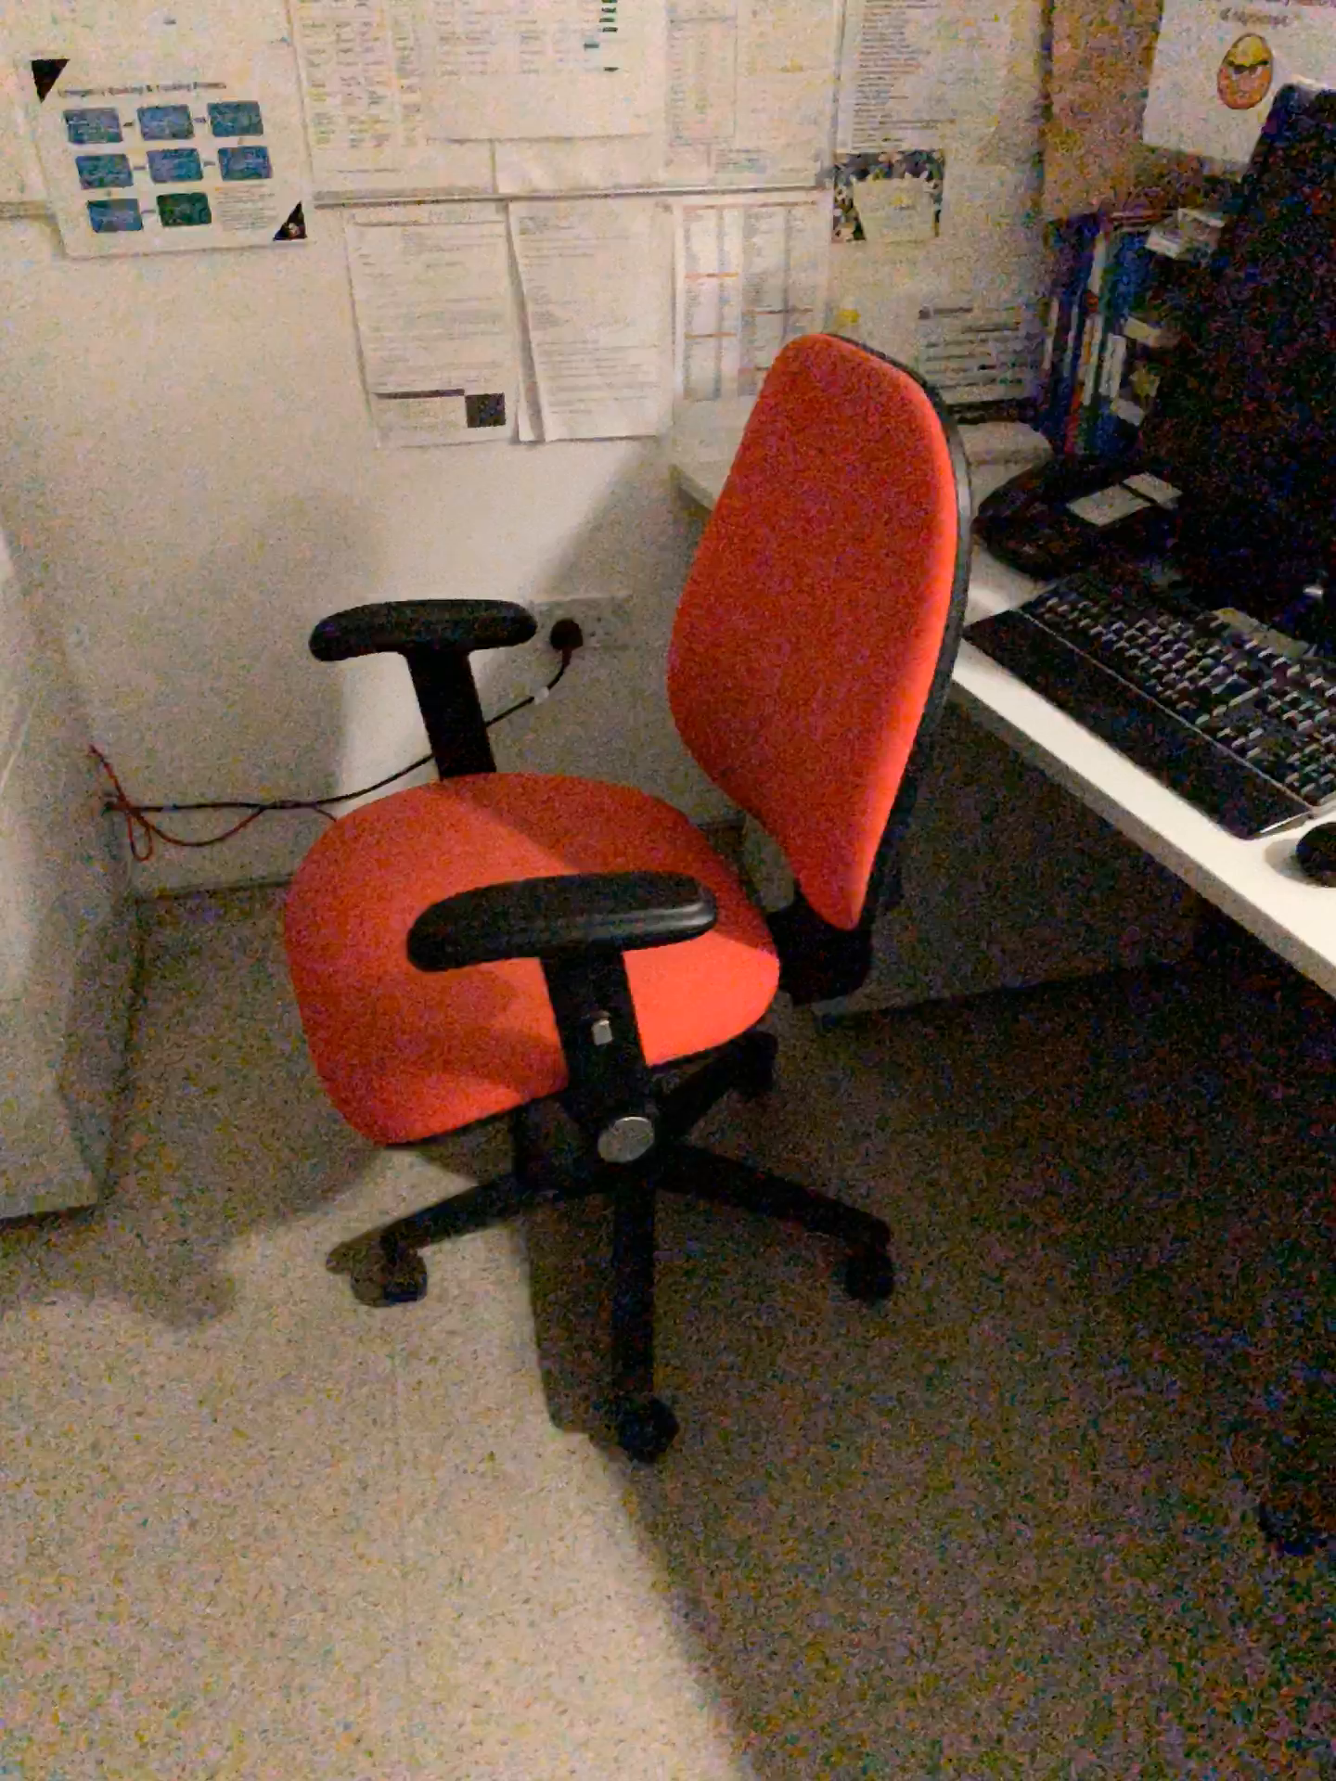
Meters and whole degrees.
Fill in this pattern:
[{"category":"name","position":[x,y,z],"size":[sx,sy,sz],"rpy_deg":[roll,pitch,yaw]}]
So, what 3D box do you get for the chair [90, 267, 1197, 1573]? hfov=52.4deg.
[{"category":"chair","position":[-0.073,-0.018,1.324],"size":[0.651,0.921,0.676],"rpy_deg":[-15,38,-20]}]
